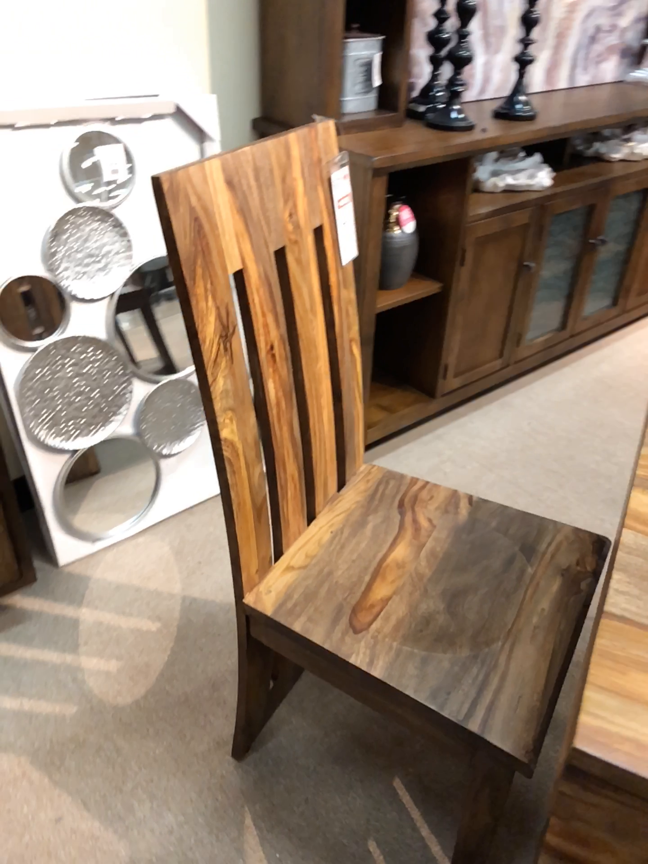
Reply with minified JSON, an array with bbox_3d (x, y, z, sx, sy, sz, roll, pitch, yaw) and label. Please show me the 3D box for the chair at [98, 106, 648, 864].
[{"bbox_3d":[0.133,0.132,1.082,0.591,1.023,0.512,19,38,23],"label":"chair"}]
